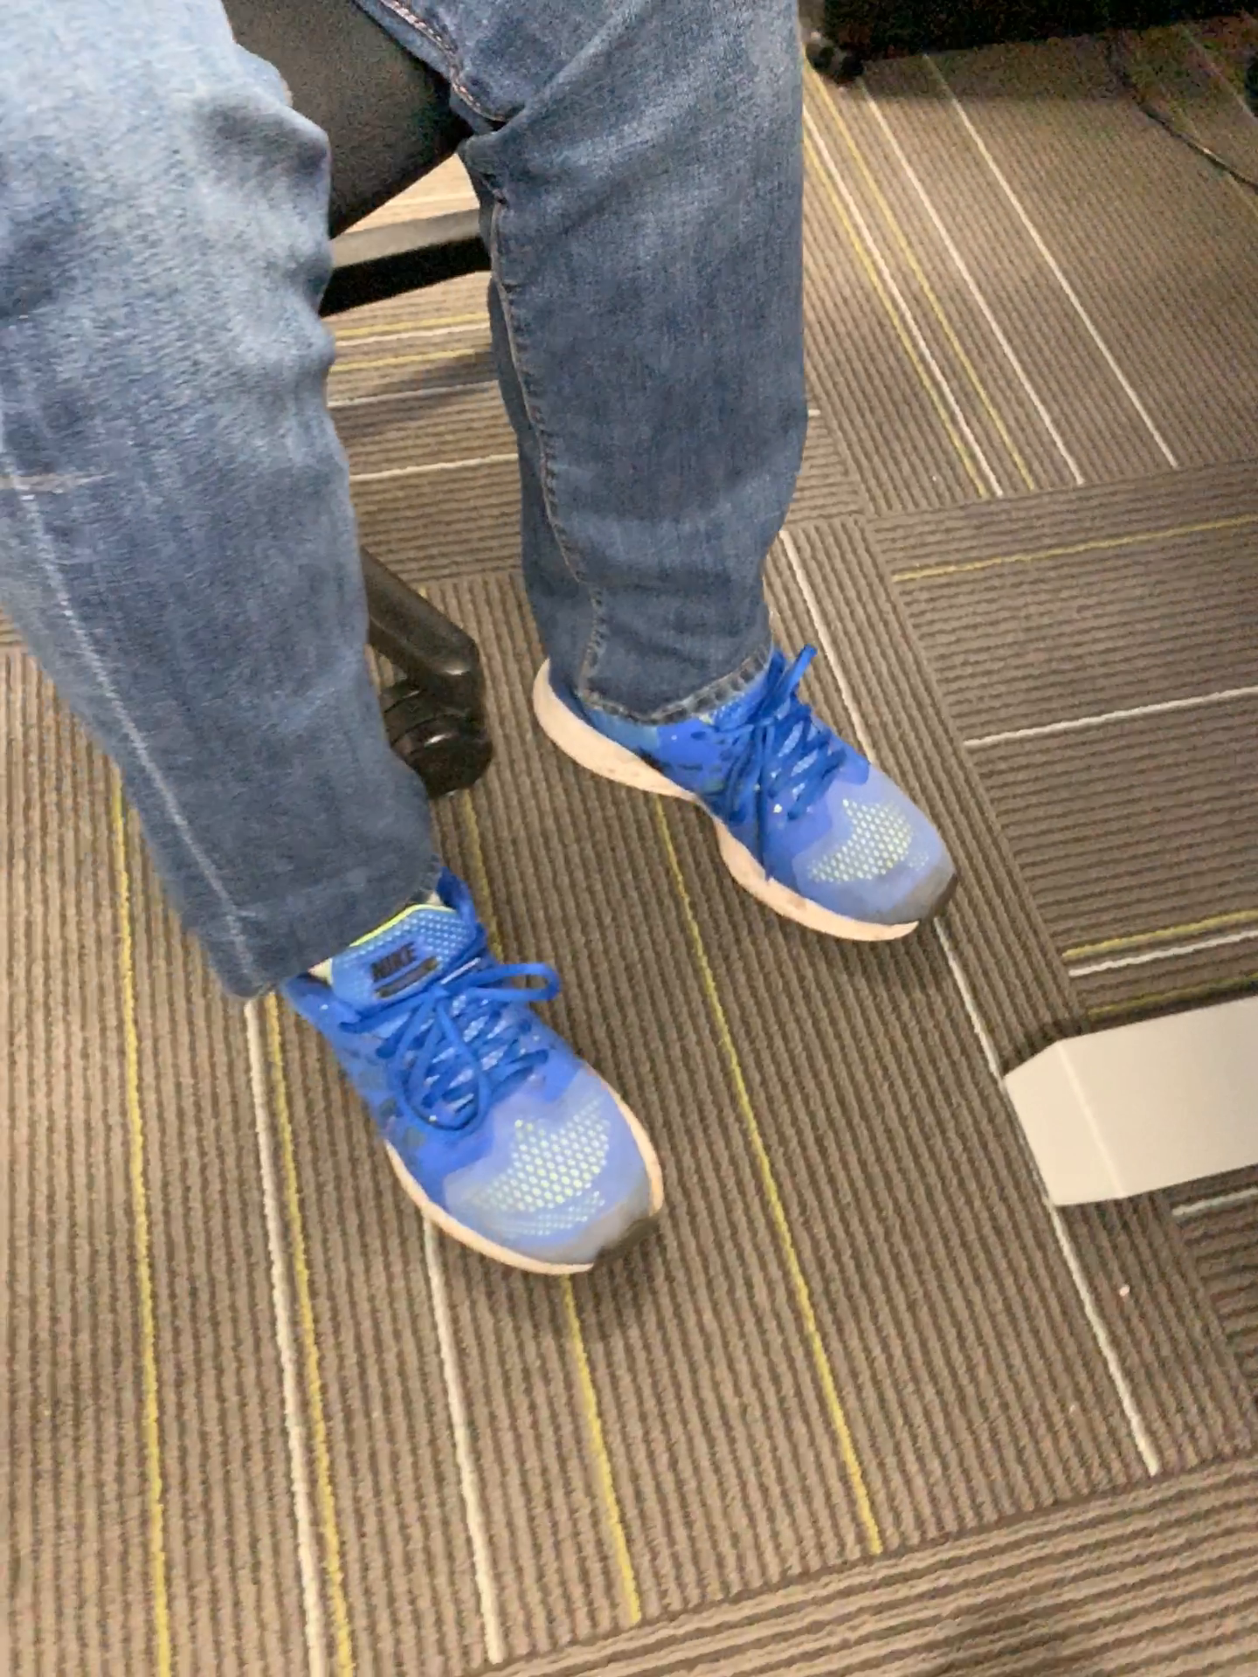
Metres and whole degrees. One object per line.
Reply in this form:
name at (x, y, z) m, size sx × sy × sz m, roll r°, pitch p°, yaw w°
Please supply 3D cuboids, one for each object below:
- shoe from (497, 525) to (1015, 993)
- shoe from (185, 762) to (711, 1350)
shoe at (0.065, -0.052, 0.761) m, size 0.279 × 0.083 × 0.116 m, roll 38°, pitch 65°, yaw 18°
shoe at (-0.097, 0.105, 0.673) m, size 0.117 × 0.083 × 0.279 m, roll -35°, pitch 67°, yaw -20°
